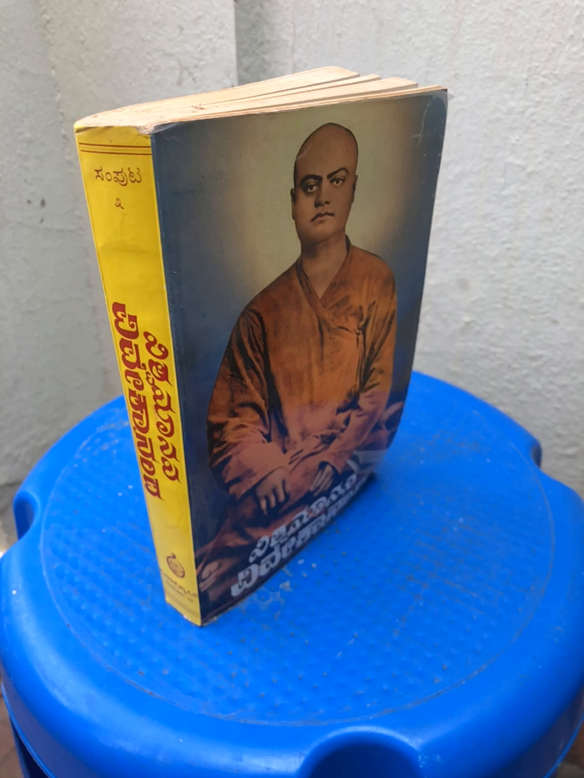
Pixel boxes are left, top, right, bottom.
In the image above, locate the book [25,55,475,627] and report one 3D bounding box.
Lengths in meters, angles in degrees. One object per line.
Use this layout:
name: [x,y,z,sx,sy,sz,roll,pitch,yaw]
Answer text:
book: [0.003,-0.033,0.298,0.050,0.199,0.191,23,38,37]
